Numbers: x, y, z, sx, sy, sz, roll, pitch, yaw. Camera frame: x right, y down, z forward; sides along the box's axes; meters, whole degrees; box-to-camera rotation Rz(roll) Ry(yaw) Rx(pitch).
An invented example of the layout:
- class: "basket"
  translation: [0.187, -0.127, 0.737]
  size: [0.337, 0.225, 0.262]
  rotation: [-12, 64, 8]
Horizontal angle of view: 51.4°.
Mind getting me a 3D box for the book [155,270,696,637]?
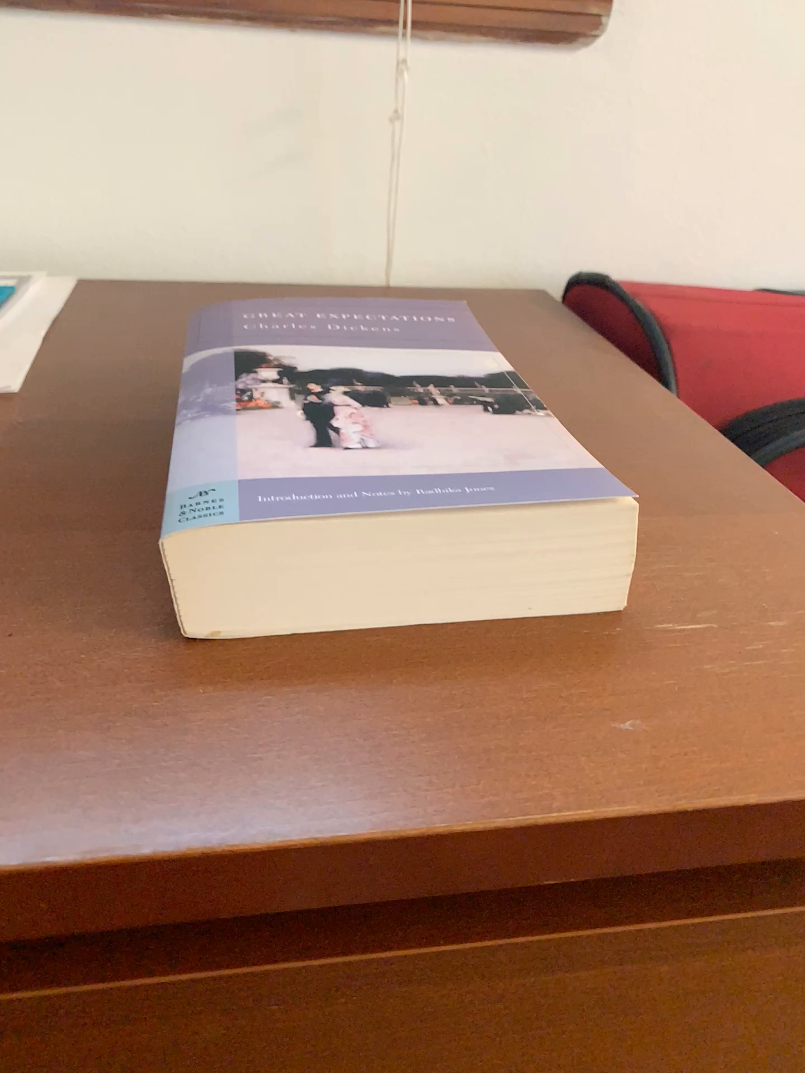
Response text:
- class: "book"
  translation: [-0.010, -0.047, 0.304]
  size: [0.140, 0.040, 0.202]
  rotation: [-2, 33, -12]
